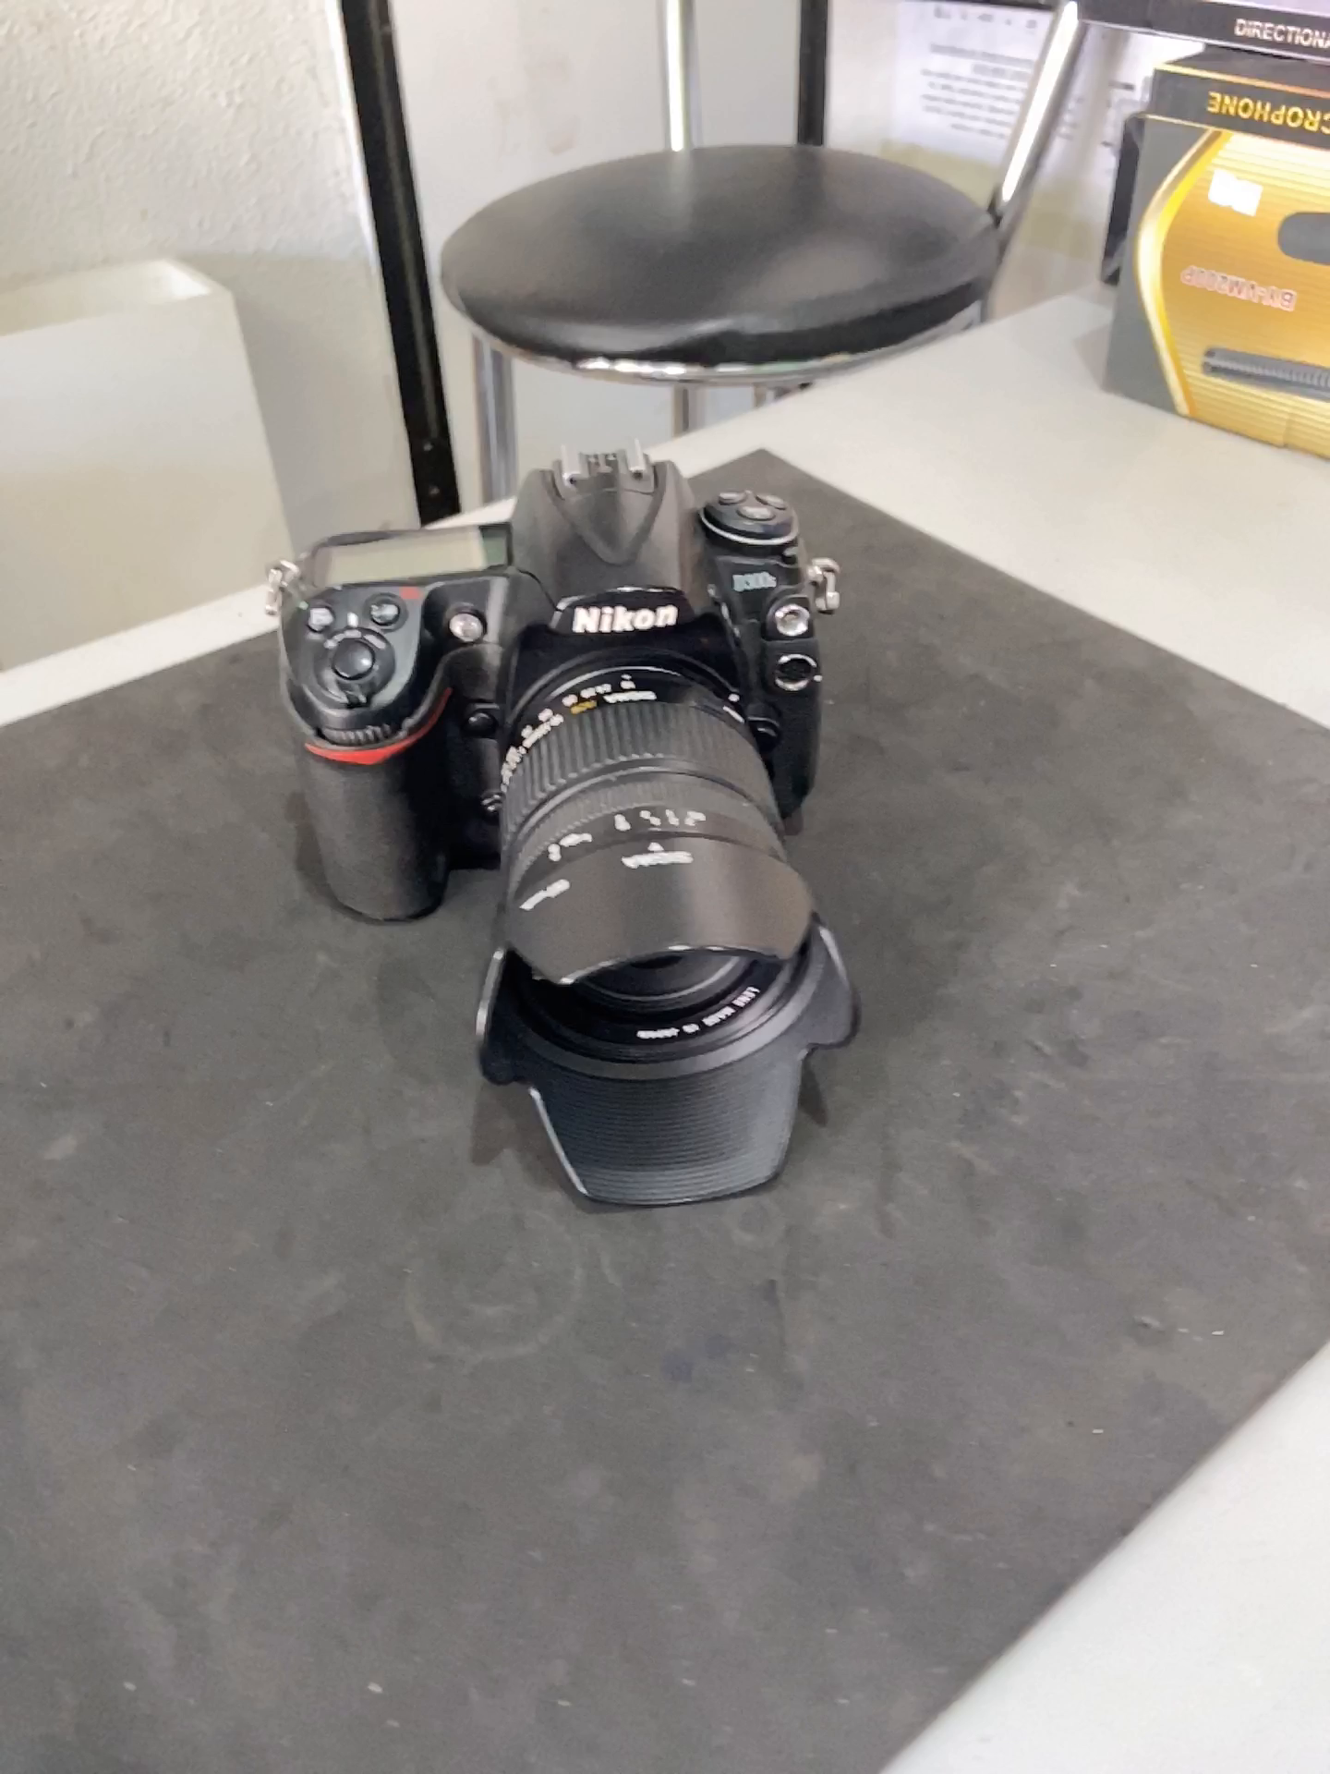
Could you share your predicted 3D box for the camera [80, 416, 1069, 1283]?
[{"bbox_3d":[-0.020,-0.021,0.340,0.170,0.109,0.181,-6,40,-2],"label":"camera"}]
